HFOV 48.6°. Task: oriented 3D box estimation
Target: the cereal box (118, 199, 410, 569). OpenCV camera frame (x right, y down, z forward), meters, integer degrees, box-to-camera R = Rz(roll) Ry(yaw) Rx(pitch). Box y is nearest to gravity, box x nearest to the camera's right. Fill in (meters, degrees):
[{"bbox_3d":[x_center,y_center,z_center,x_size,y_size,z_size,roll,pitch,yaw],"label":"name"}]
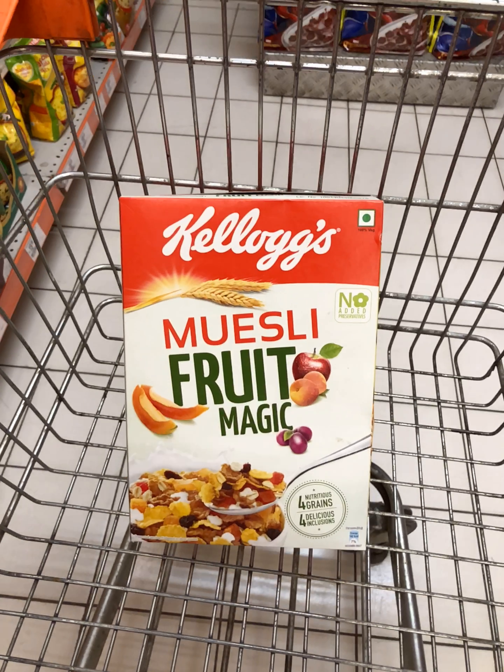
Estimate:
[{"bbox_3d":[0.004,0.035,0.445,0.200,0.270,0.080,2,10,0],"label":"cereal box"}]
